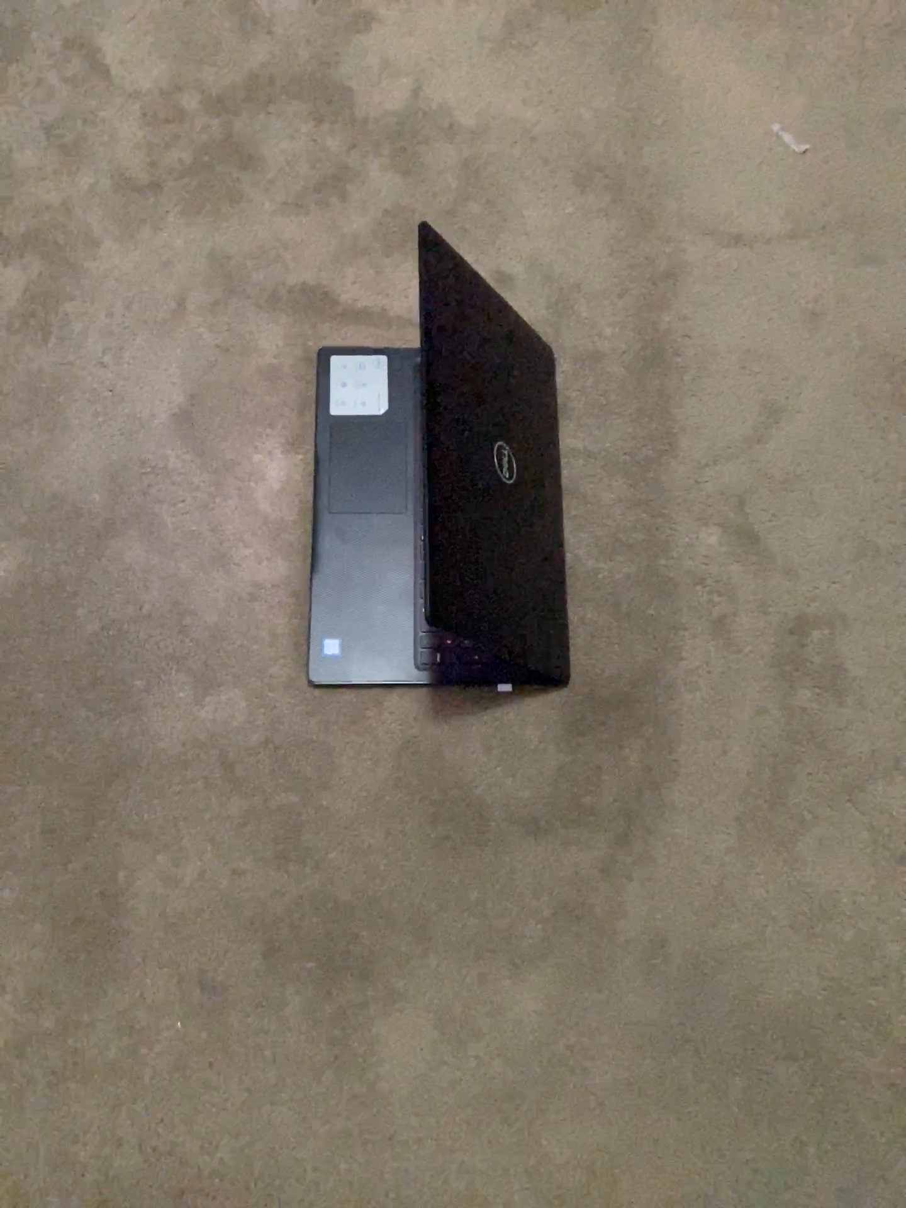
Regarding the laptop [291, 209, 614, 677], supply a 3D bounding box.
[{"bbox_3d":[-0.007,-0.140,0.864,0.251,0.202,0.377,-1,73,-1],"label":"laptop"}]
